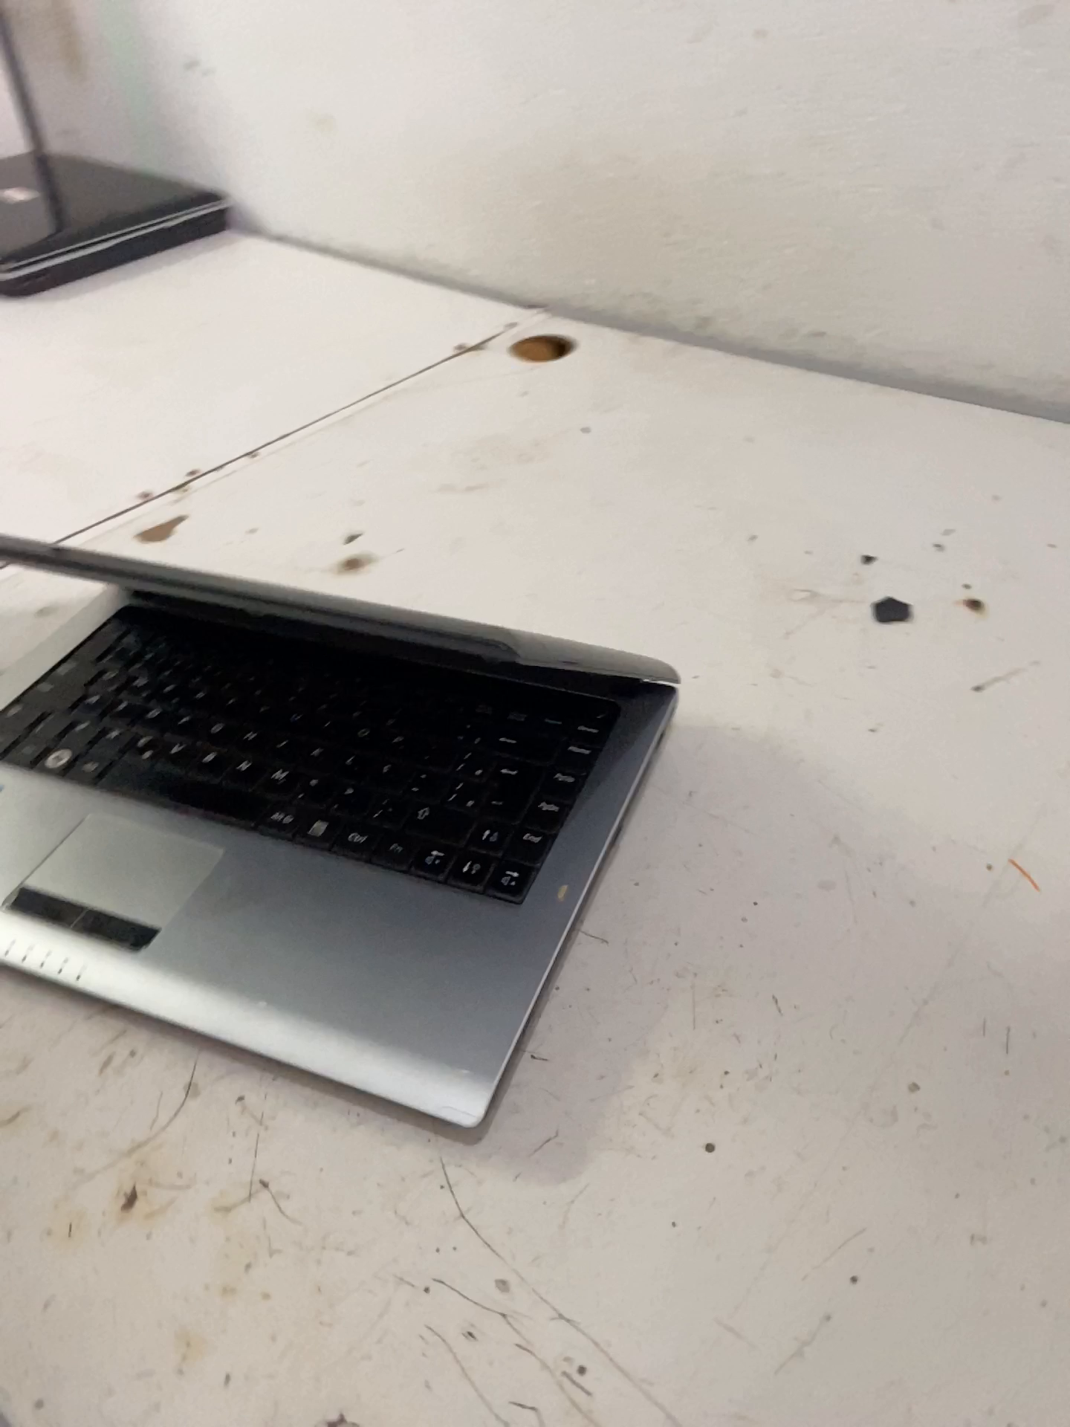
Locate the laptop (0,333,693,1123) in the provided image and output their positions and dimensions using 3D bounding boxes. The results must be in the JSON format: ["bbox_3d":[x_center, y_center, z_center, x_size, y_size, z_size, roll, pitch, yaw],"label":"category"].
[{"bbox_3d":[-0.133,-0.027,0.461,0.334,0.152,0.242,12,42,20],"label":"laptop"}]
